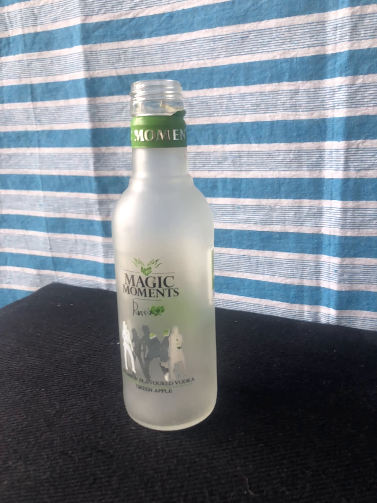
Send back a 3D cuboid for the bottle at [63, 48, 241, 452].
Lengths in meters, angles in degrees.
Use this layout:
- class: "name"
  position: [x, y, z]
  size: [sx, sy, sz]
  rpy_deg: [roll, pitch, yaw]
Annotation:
- class: "bottle"
  position: [-0.009, 0.000, 0.180]
  size: [0.050, 0.149, 0.050]
  rpy_deg: [-1, 17, 0]
